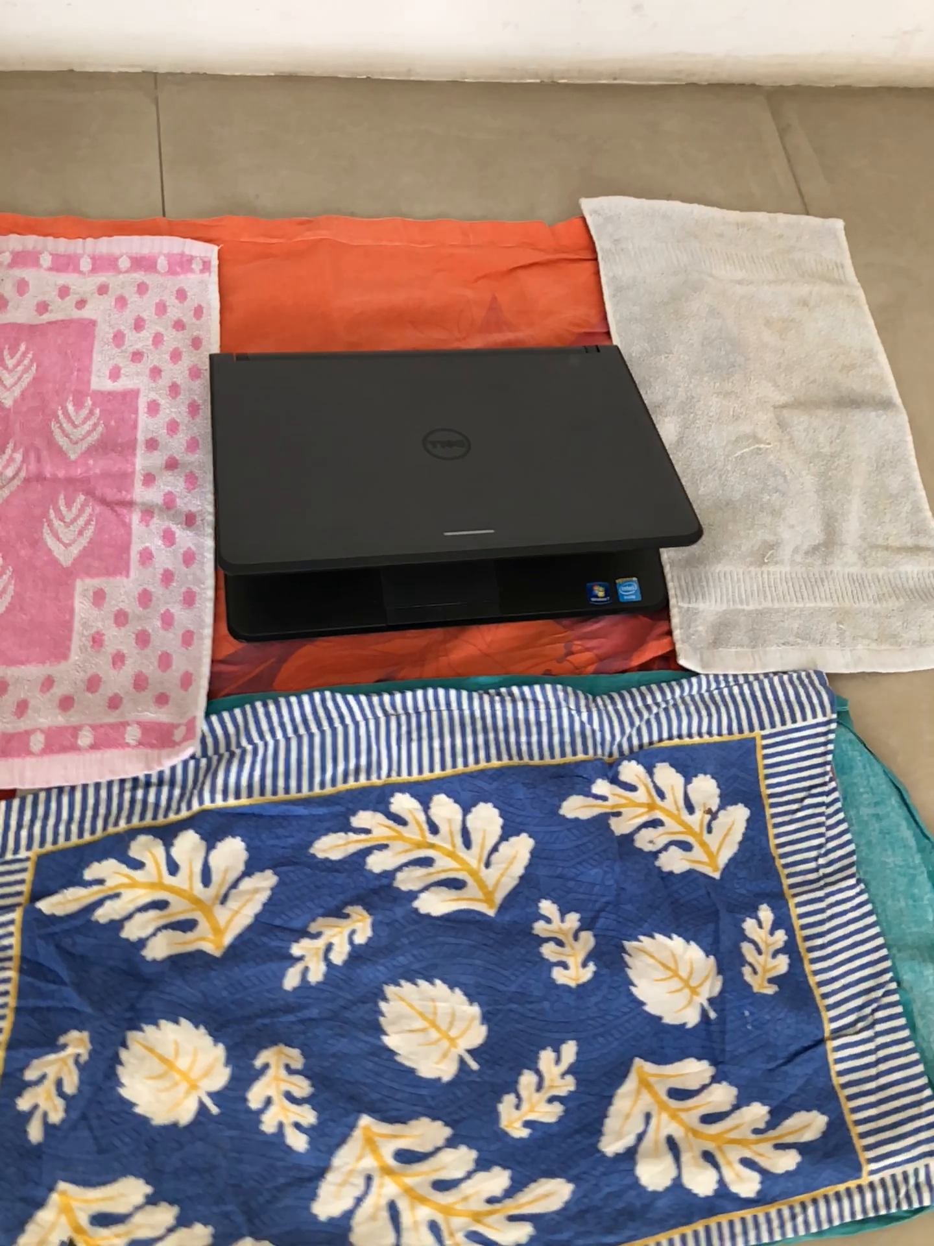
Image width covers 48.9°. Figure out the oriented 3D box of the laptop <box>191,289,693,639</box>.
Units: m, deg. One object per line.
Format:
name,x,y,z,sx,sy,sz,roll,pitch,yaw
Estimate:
laptop,-0.026,-0.122,0.740,0.315,0.078,0.227,-6,65,-11
